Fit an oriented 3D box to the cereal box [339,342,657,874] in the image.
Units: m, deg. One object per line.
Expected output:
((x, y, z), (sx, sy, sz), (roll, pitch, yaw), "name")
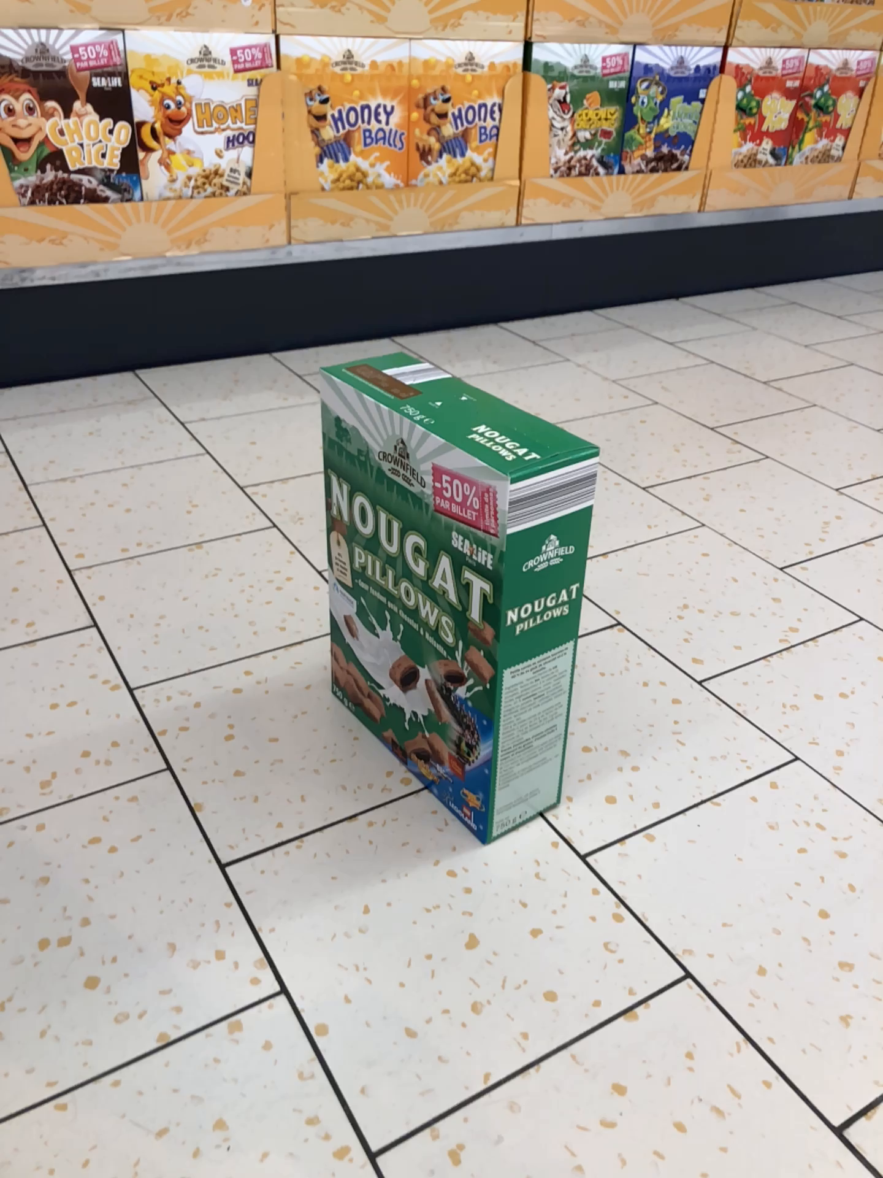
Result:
((0.018, 0.007, 0.617), (0.070, 0.268, 0.200), (-18, 36, -32), "cereal box")
